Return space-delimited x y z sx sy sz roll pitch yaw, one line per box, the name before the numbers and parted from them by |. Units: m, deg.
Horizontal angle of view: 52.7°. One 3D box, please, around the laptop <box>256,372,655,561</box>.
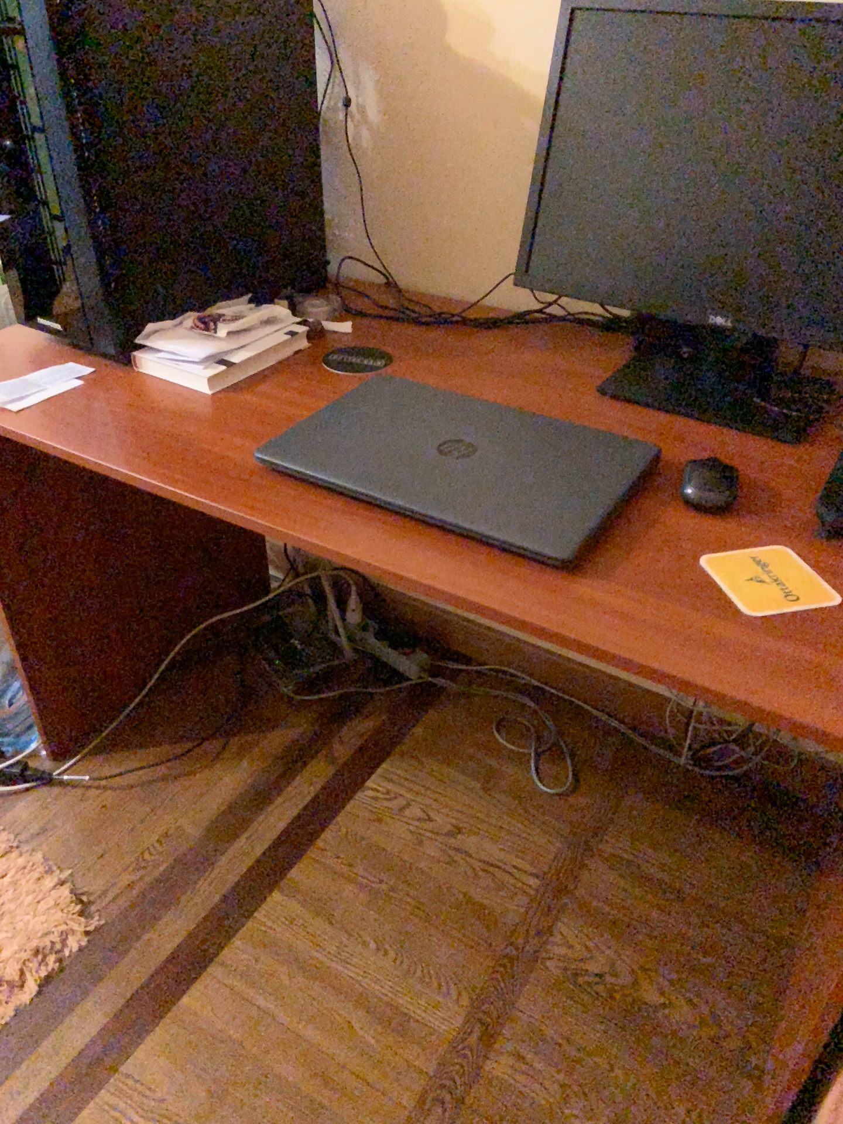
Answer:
laptop | 0.037 -0.123 0.932 0.369 0.005 0.248 20 41 27
